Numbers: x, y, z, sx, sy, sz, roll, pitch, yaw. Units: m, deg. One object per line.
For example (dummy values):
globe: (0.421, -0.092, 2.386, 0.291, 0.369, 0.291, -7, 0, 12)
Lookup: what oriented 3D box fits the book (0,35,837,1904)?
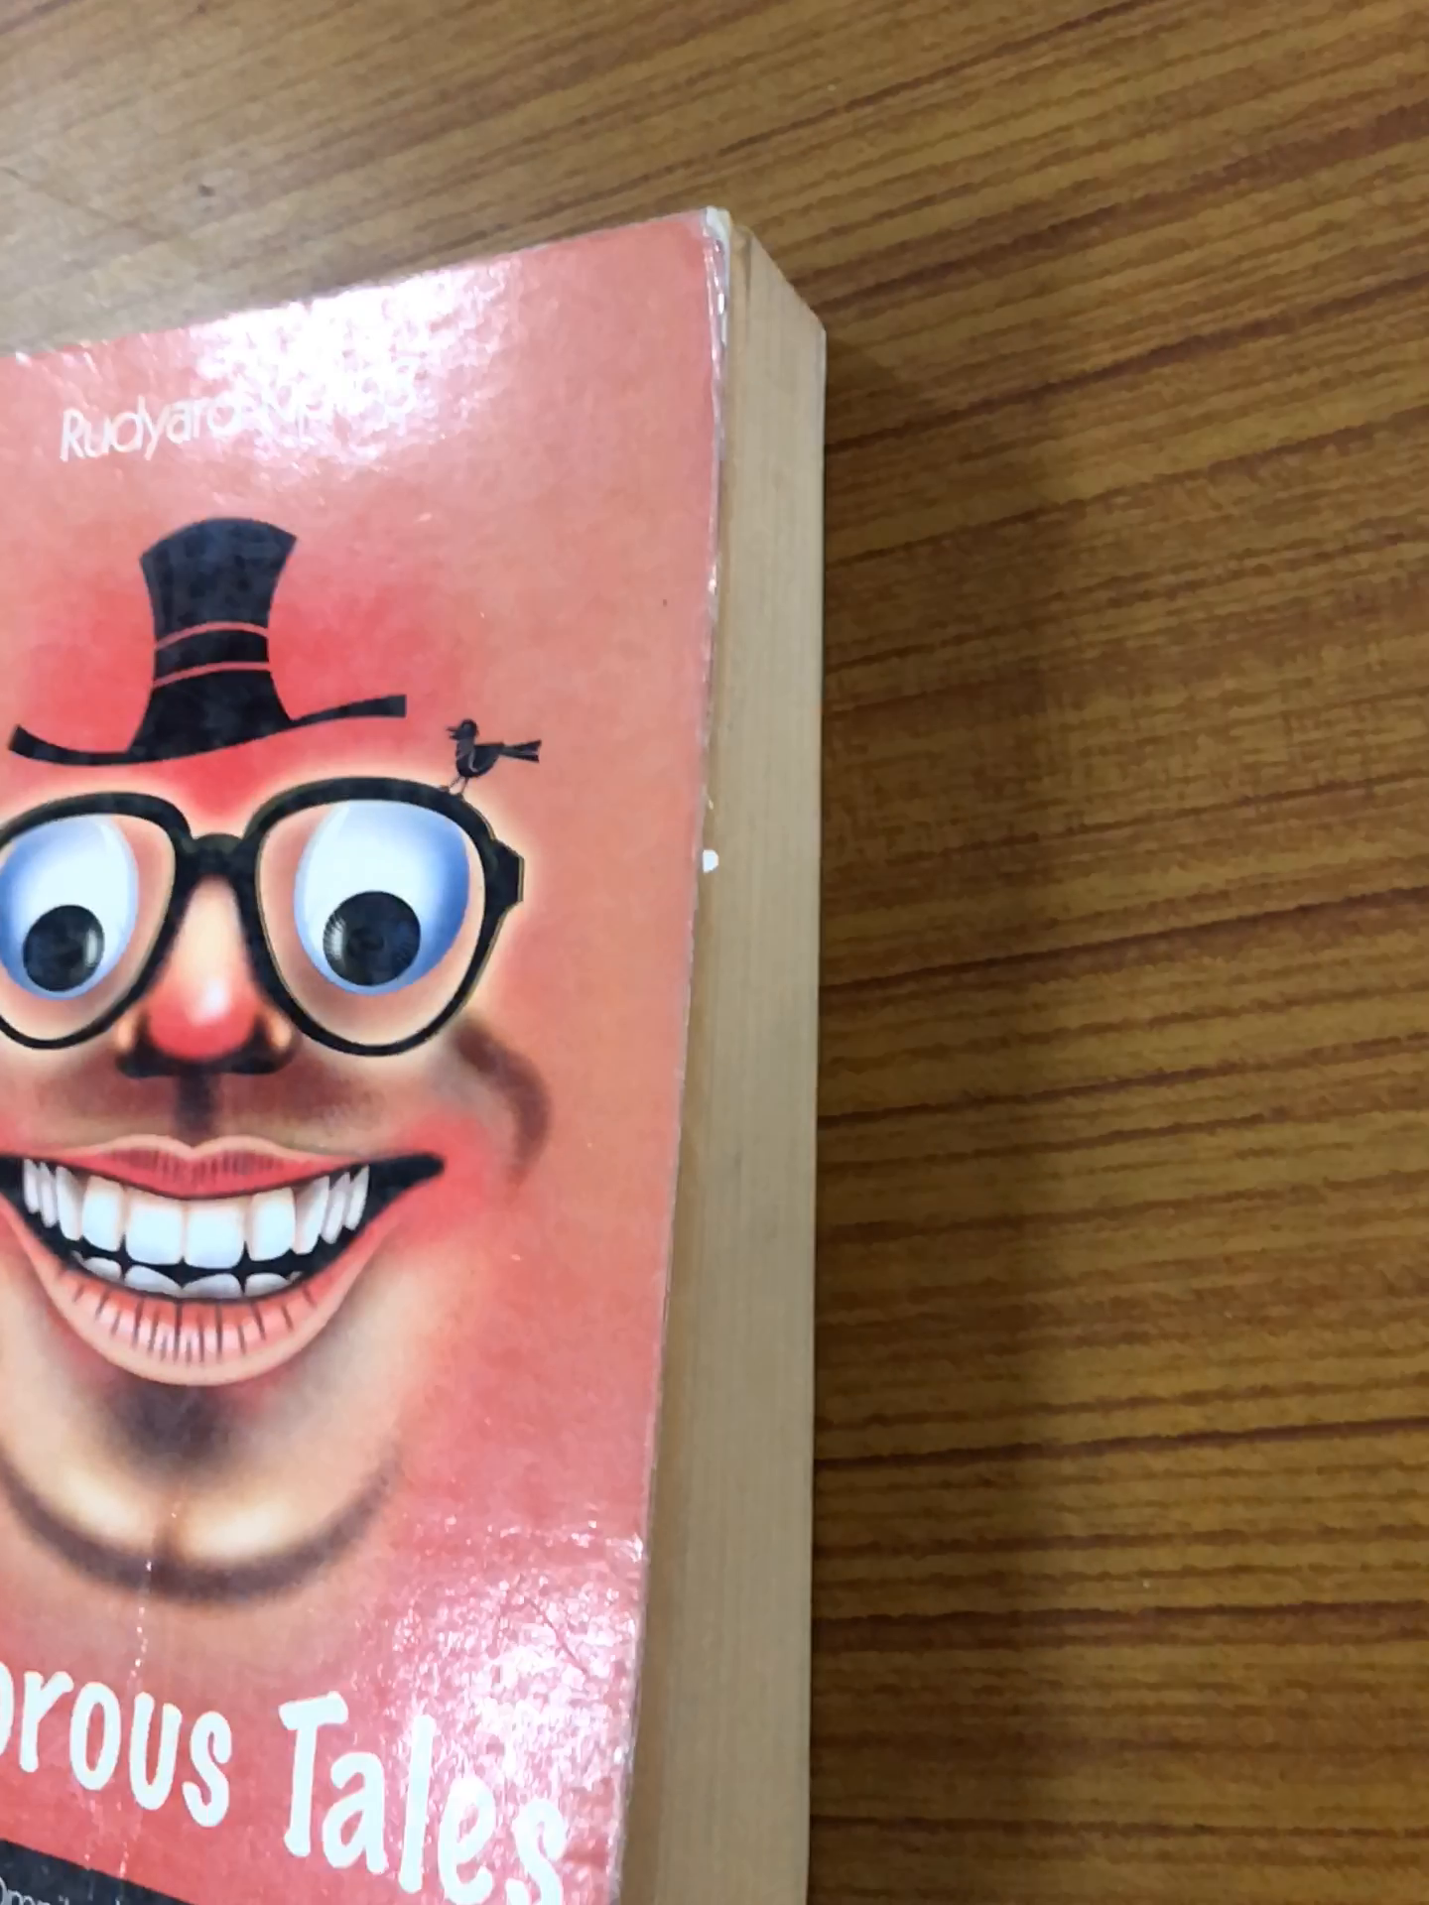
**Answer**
book: (-0.055, 0.014, 0.188, 0.131, 0.040, 0.190, -2, 83, 30)
